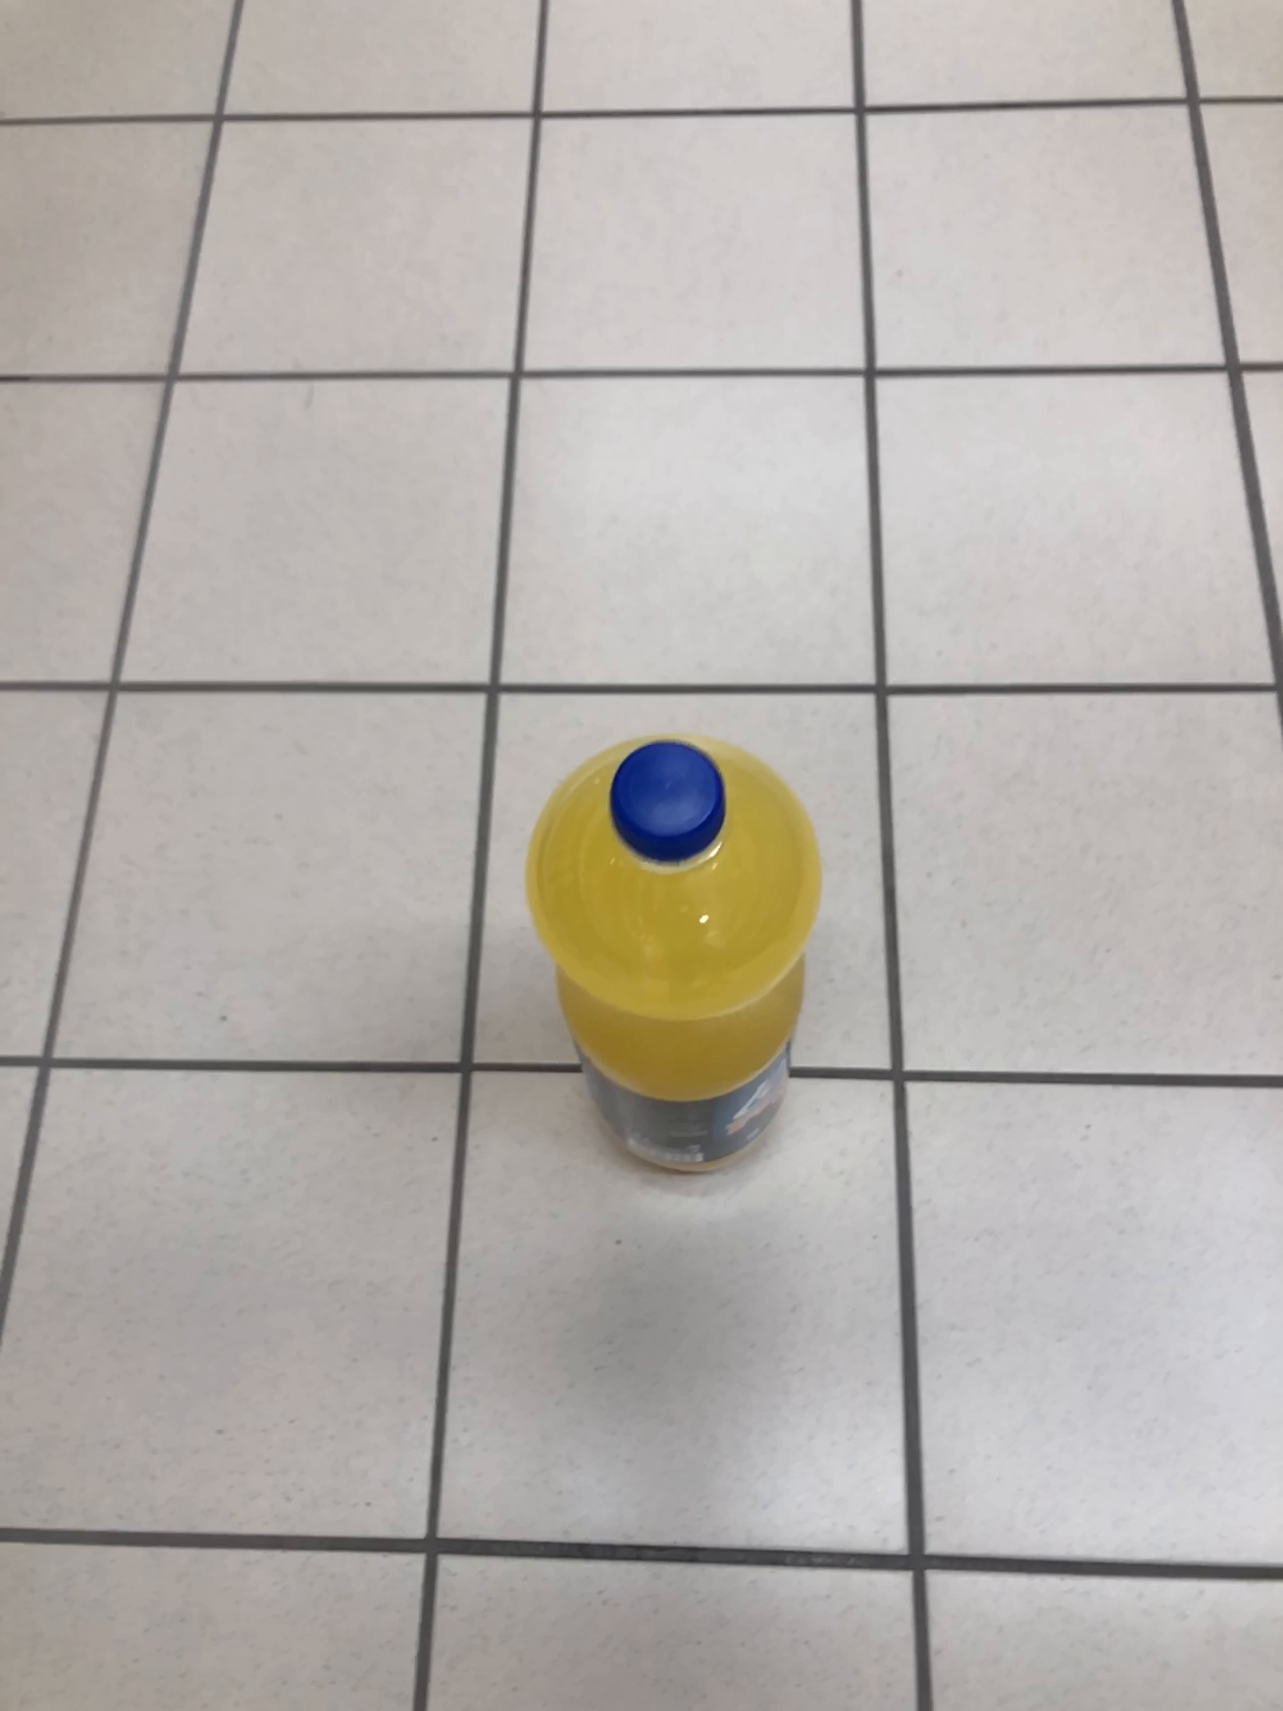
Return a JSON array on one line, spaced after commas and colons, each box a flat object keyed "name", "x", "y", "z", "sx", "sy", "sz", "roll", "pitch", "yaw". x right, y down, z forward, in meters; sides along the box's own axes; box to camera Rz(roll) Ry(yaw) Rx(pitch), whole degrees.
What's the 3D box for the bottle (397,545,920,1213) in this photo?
[{"name": "bottle", "x": 0.013, "y": 0.037, "z": 0.497, "sx": 0.100, "sy": 0.319, "sz": 0.100, "roll": -1, "pitch": 68, "yaw": 2}]
